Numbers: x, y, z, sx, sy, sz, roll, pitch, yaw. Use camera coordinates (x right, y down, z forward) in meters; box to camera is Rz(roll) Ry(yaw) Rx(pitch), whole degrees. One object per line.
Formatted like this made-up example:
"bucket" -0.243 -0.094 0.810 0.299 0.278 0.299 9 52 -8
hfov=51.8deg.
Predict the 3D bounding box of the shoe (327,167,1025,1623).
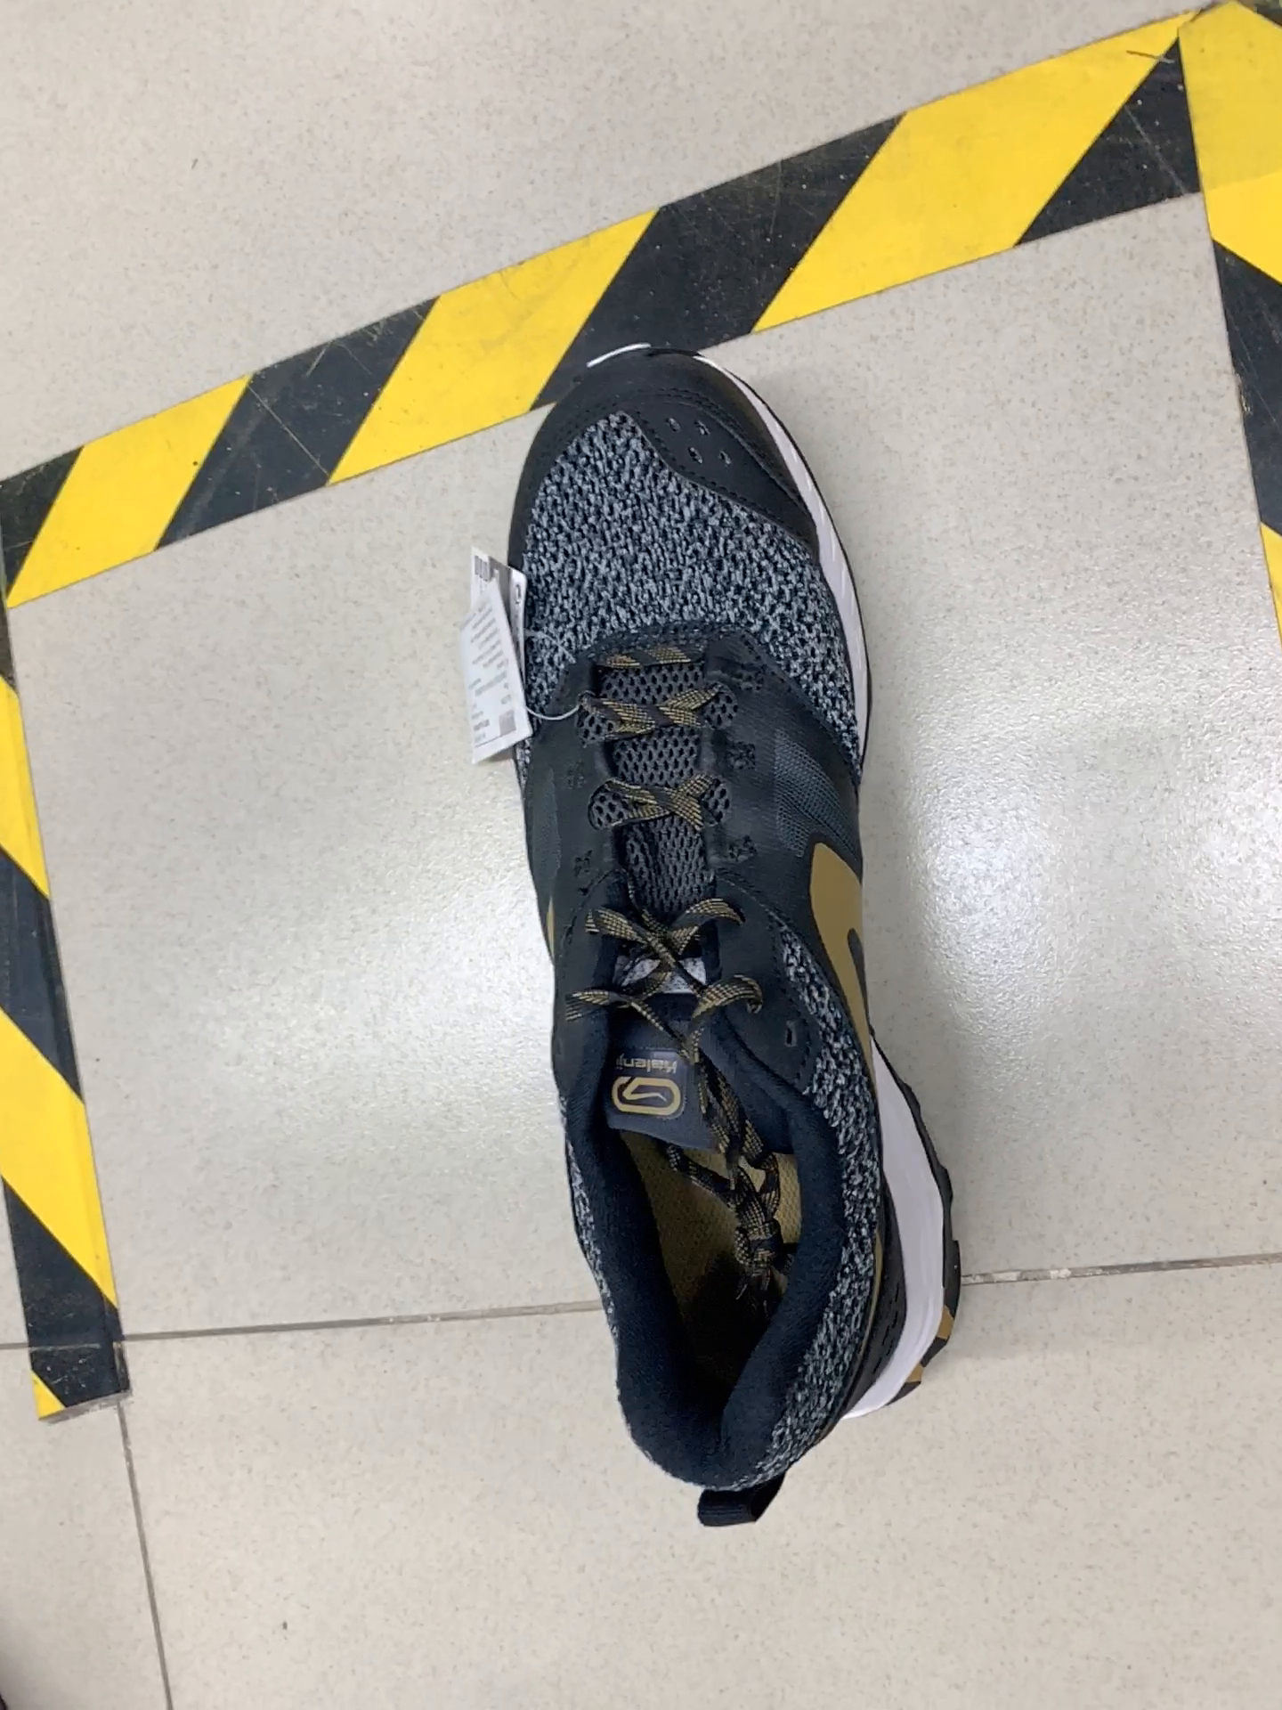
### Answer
"shoe" 0.015 0.013 0.336 0.110 0.100 0.300 -9 88 21
